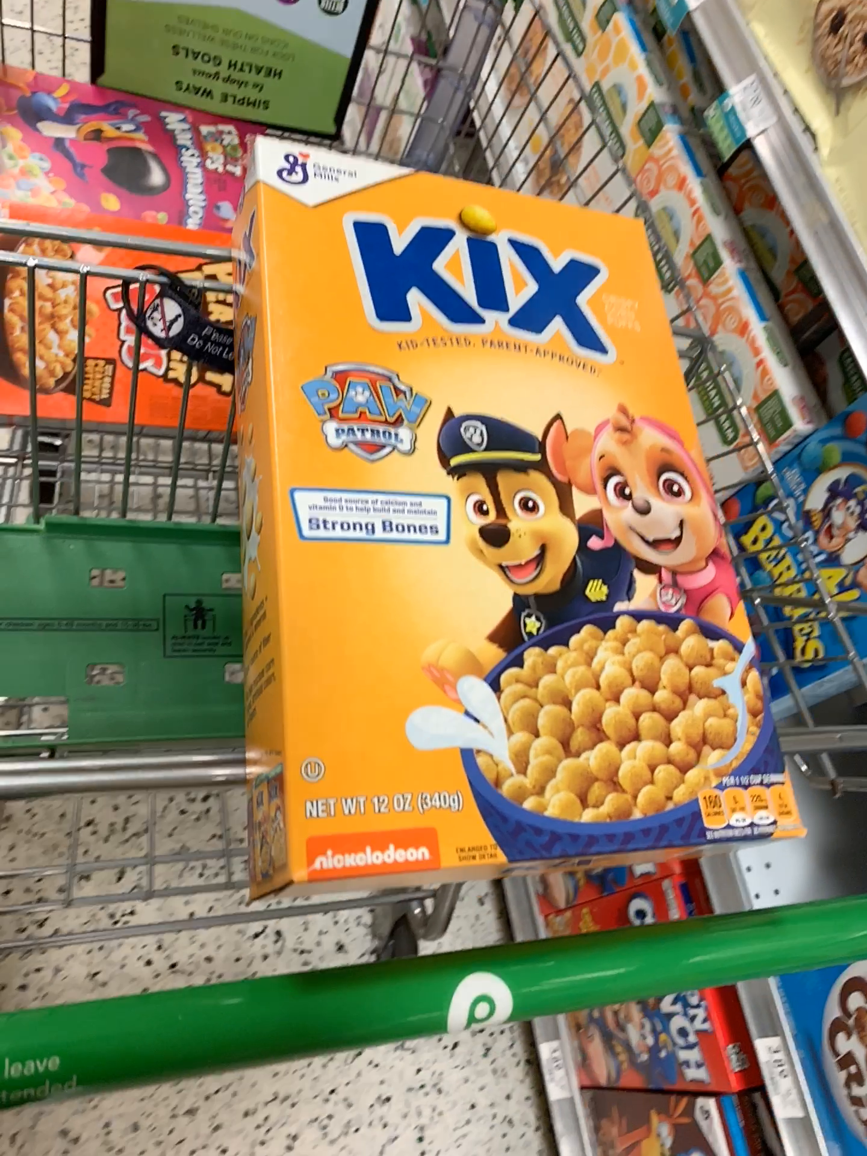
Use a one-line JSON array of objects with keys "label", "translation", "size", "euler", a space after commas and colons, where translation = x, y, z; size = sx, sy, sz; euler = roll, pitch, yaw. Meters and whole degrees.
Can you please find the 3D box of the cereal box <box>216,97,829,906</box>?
[{"label": "cereal box", "translation": [0.021, -0.039, 0.395], "size": [0.211, 0.079, 0.322], "euler": [2, 66, -22]}]
